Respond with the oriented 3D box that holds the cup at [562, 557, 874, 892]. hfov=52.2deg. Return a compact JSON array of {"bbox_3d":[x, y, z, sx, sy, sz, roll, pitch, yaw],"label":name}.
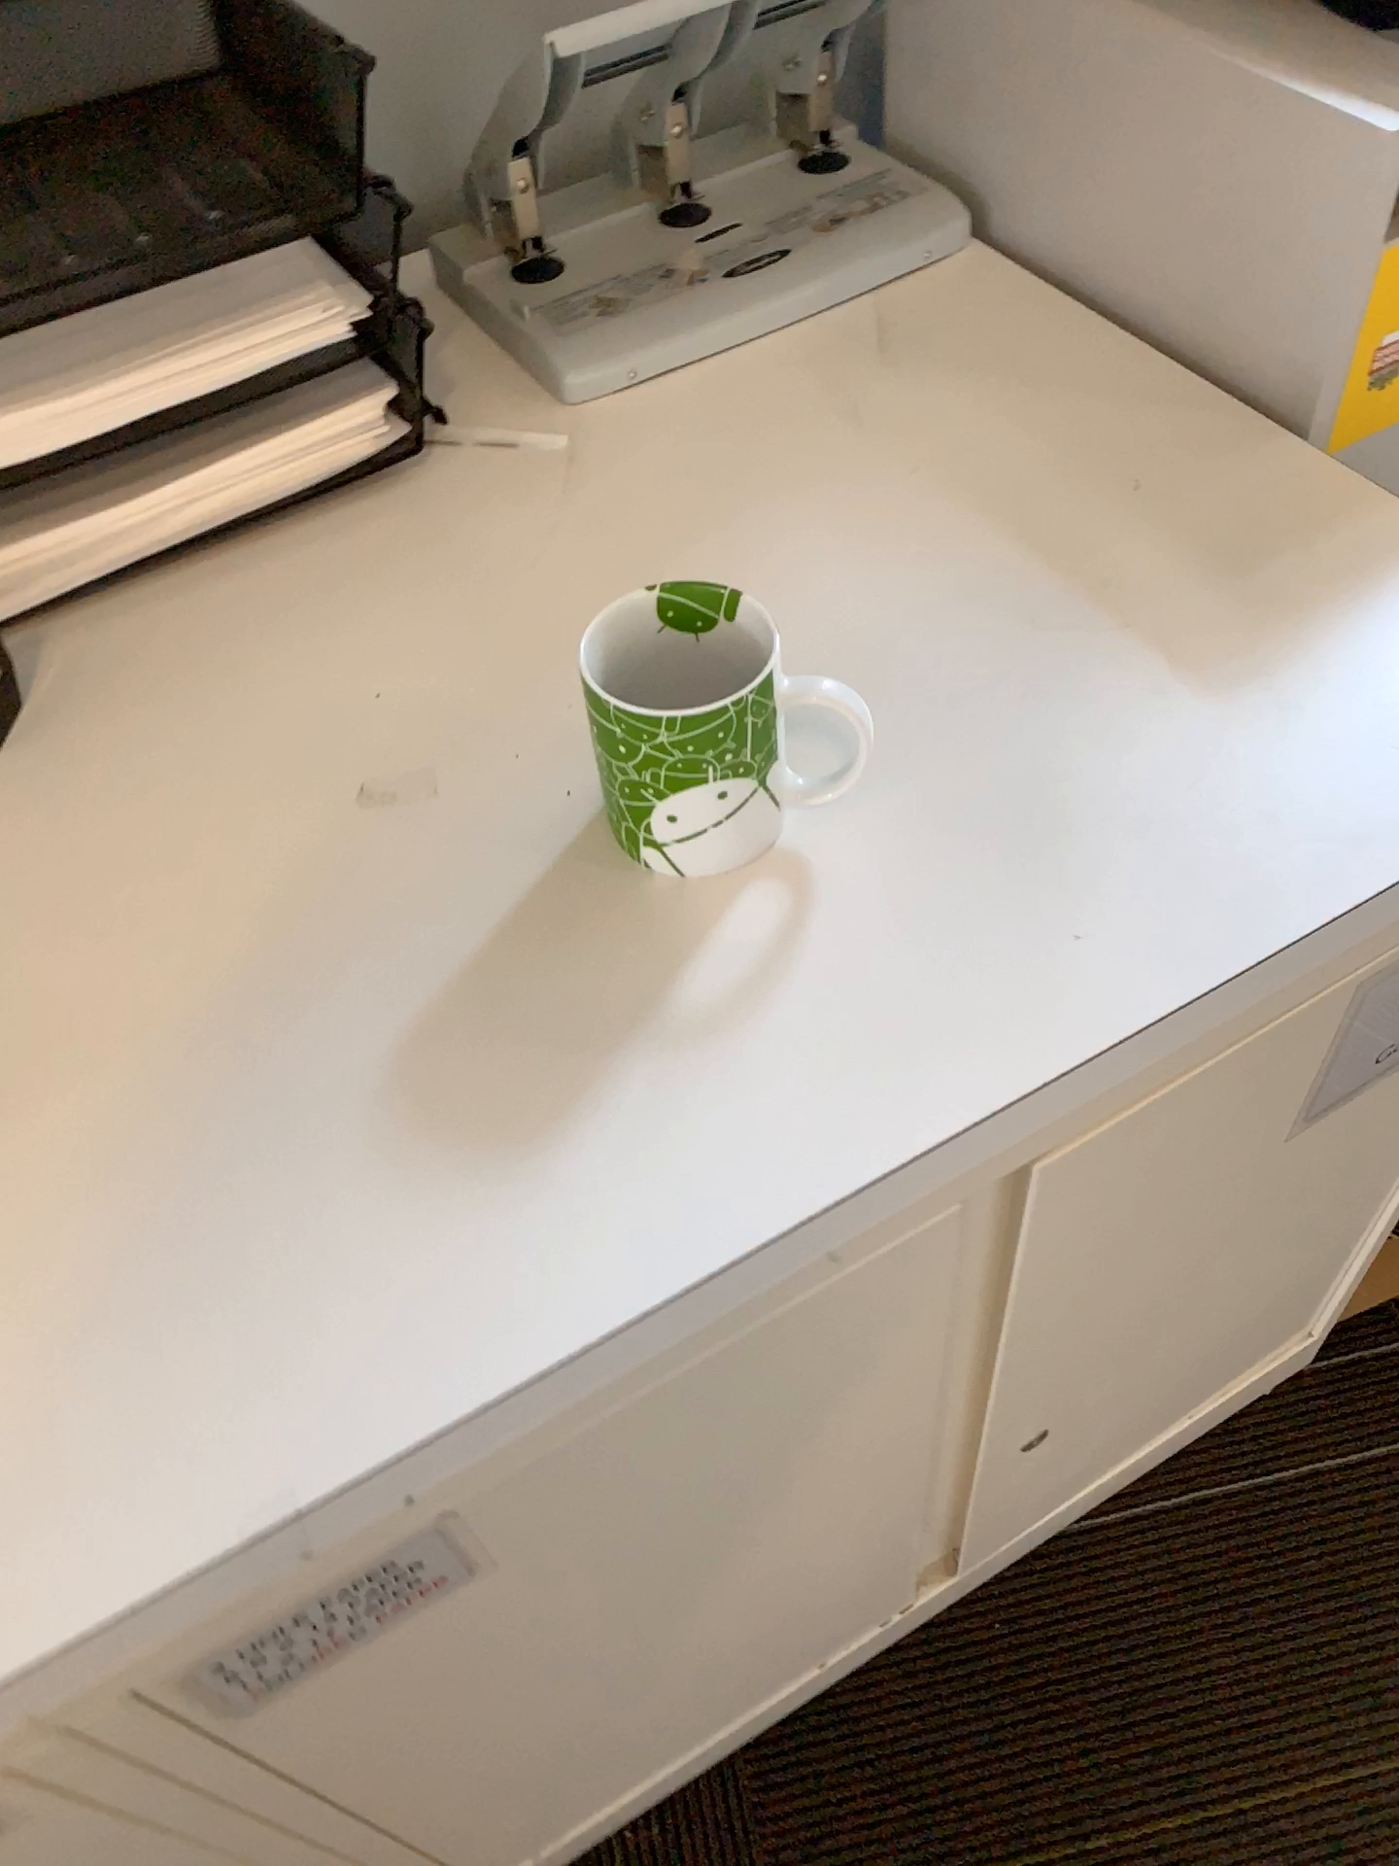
[{"bbox_3d":[0.008,-0.081,0.562,0.110,0.090,0.080,-5,51,2],"label":"cup"}]
